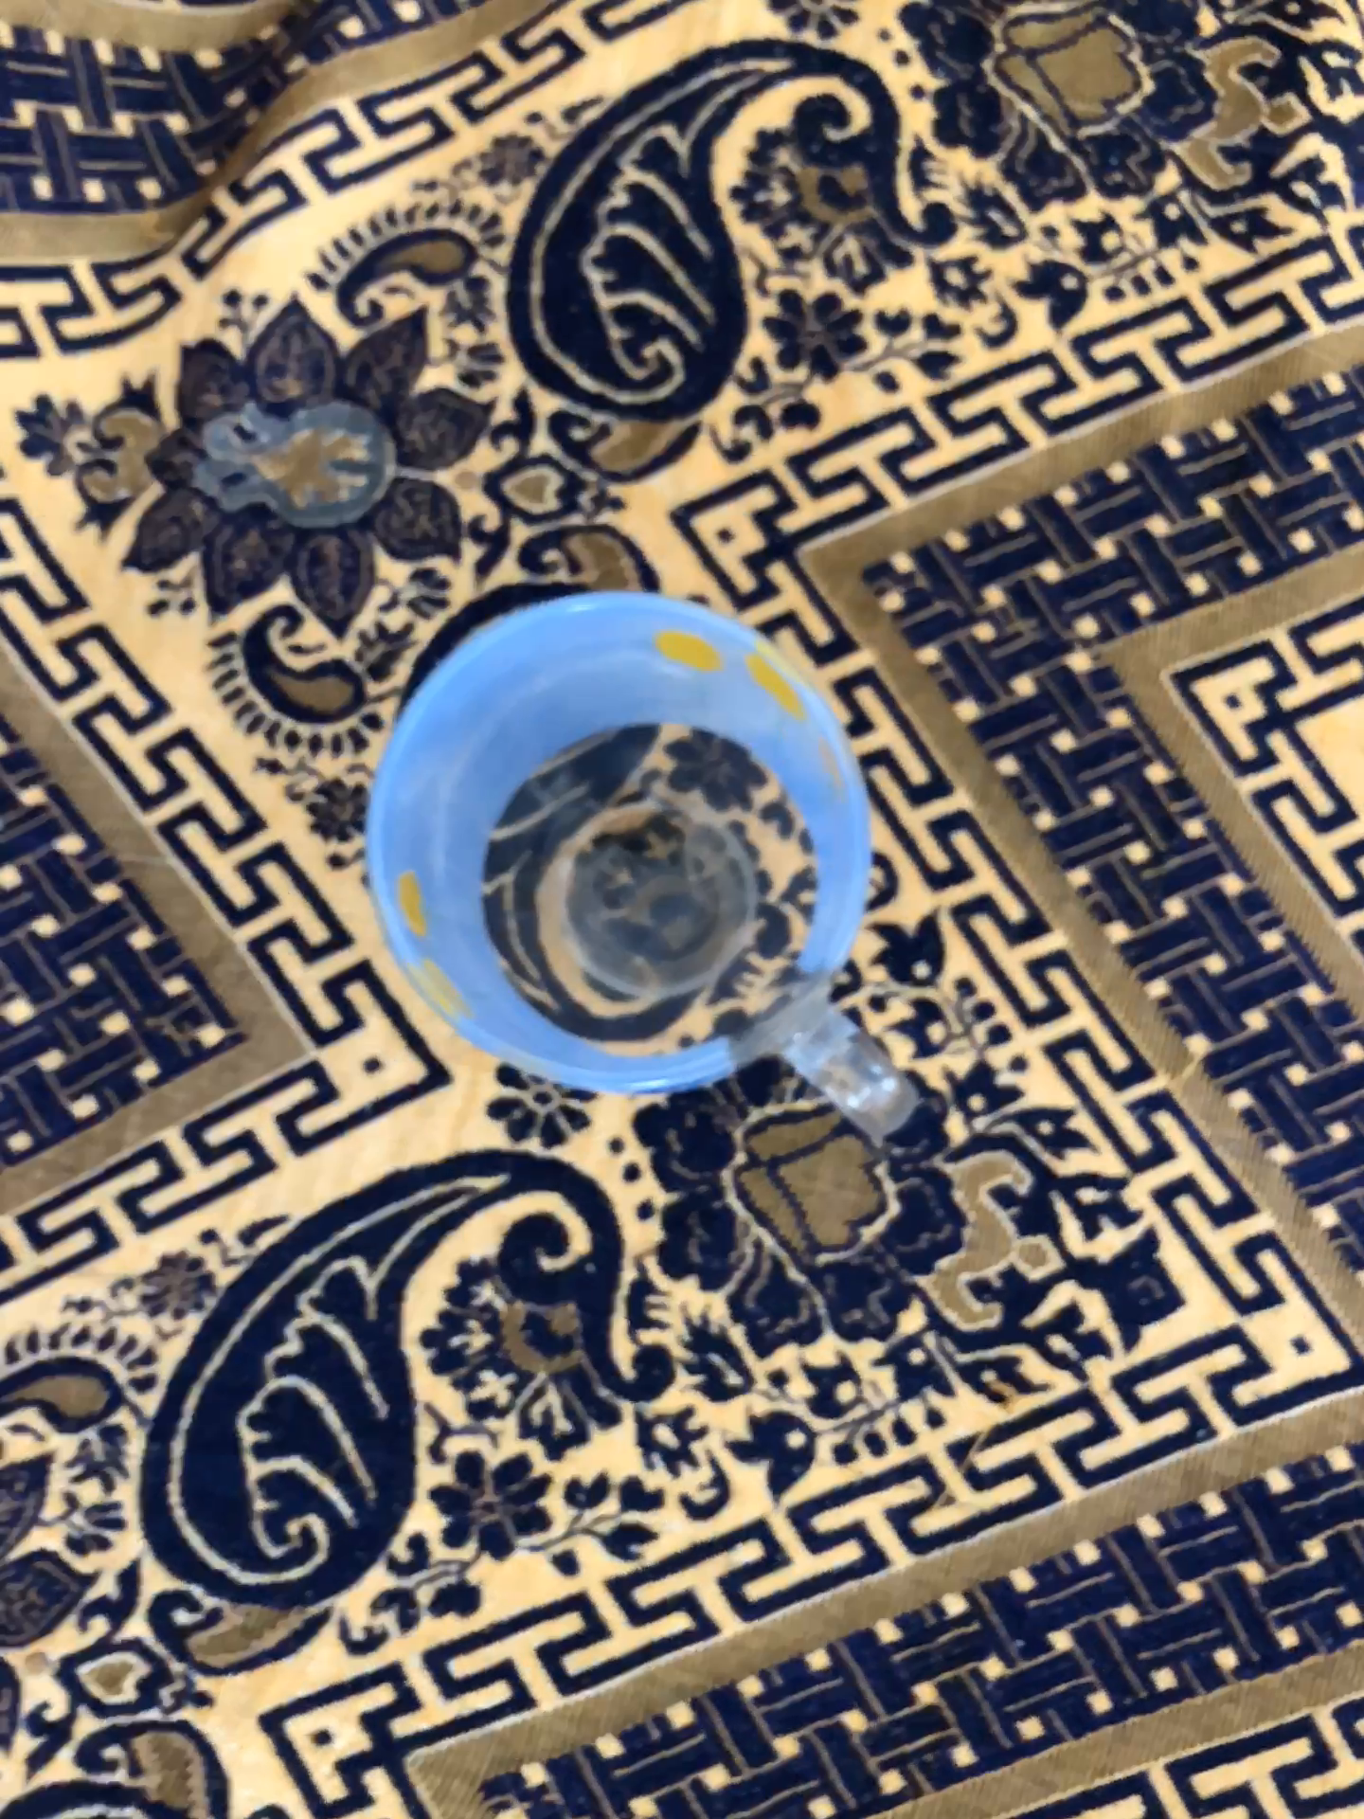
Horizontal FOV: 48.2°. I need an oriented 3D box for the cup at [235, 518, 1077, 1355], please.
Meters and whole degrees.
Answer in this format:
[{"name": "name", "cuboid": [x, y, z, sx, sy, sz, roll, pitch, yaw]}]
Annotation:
[{"name": "cup", "cuboid": [-0.006, 0.008, 0.349, 0.108, 0.072, 0.138, -43, 81, -6]}]
